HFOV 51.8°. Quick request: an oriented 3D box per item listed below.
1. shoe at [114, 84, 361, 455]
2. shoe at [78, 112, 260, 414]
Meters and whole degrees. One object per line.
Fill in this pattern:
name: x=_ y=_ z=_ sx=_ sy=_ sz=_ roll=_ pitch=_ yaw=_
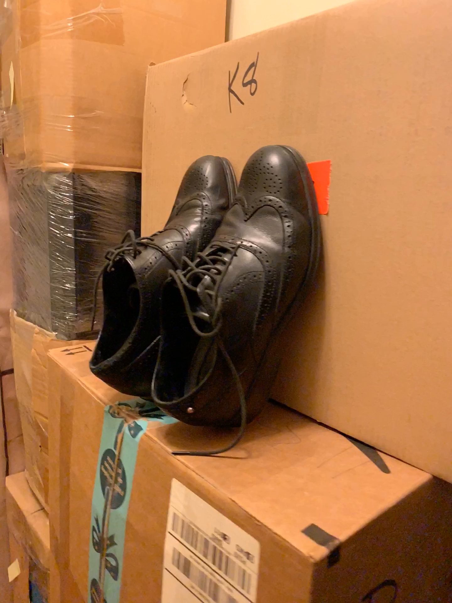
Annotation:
shoe: x=0.007 y=-0.026 z=0.418 sx=0.100 sy=0.280 sz=0.120 roll=13 pitch=2 yaw=-44
shoe: x=-0.058 y=-0.033 z=0.497 sx=0.120 sy=0.281 sz=0.100 roll=0 pitch=-10 yaw=43
